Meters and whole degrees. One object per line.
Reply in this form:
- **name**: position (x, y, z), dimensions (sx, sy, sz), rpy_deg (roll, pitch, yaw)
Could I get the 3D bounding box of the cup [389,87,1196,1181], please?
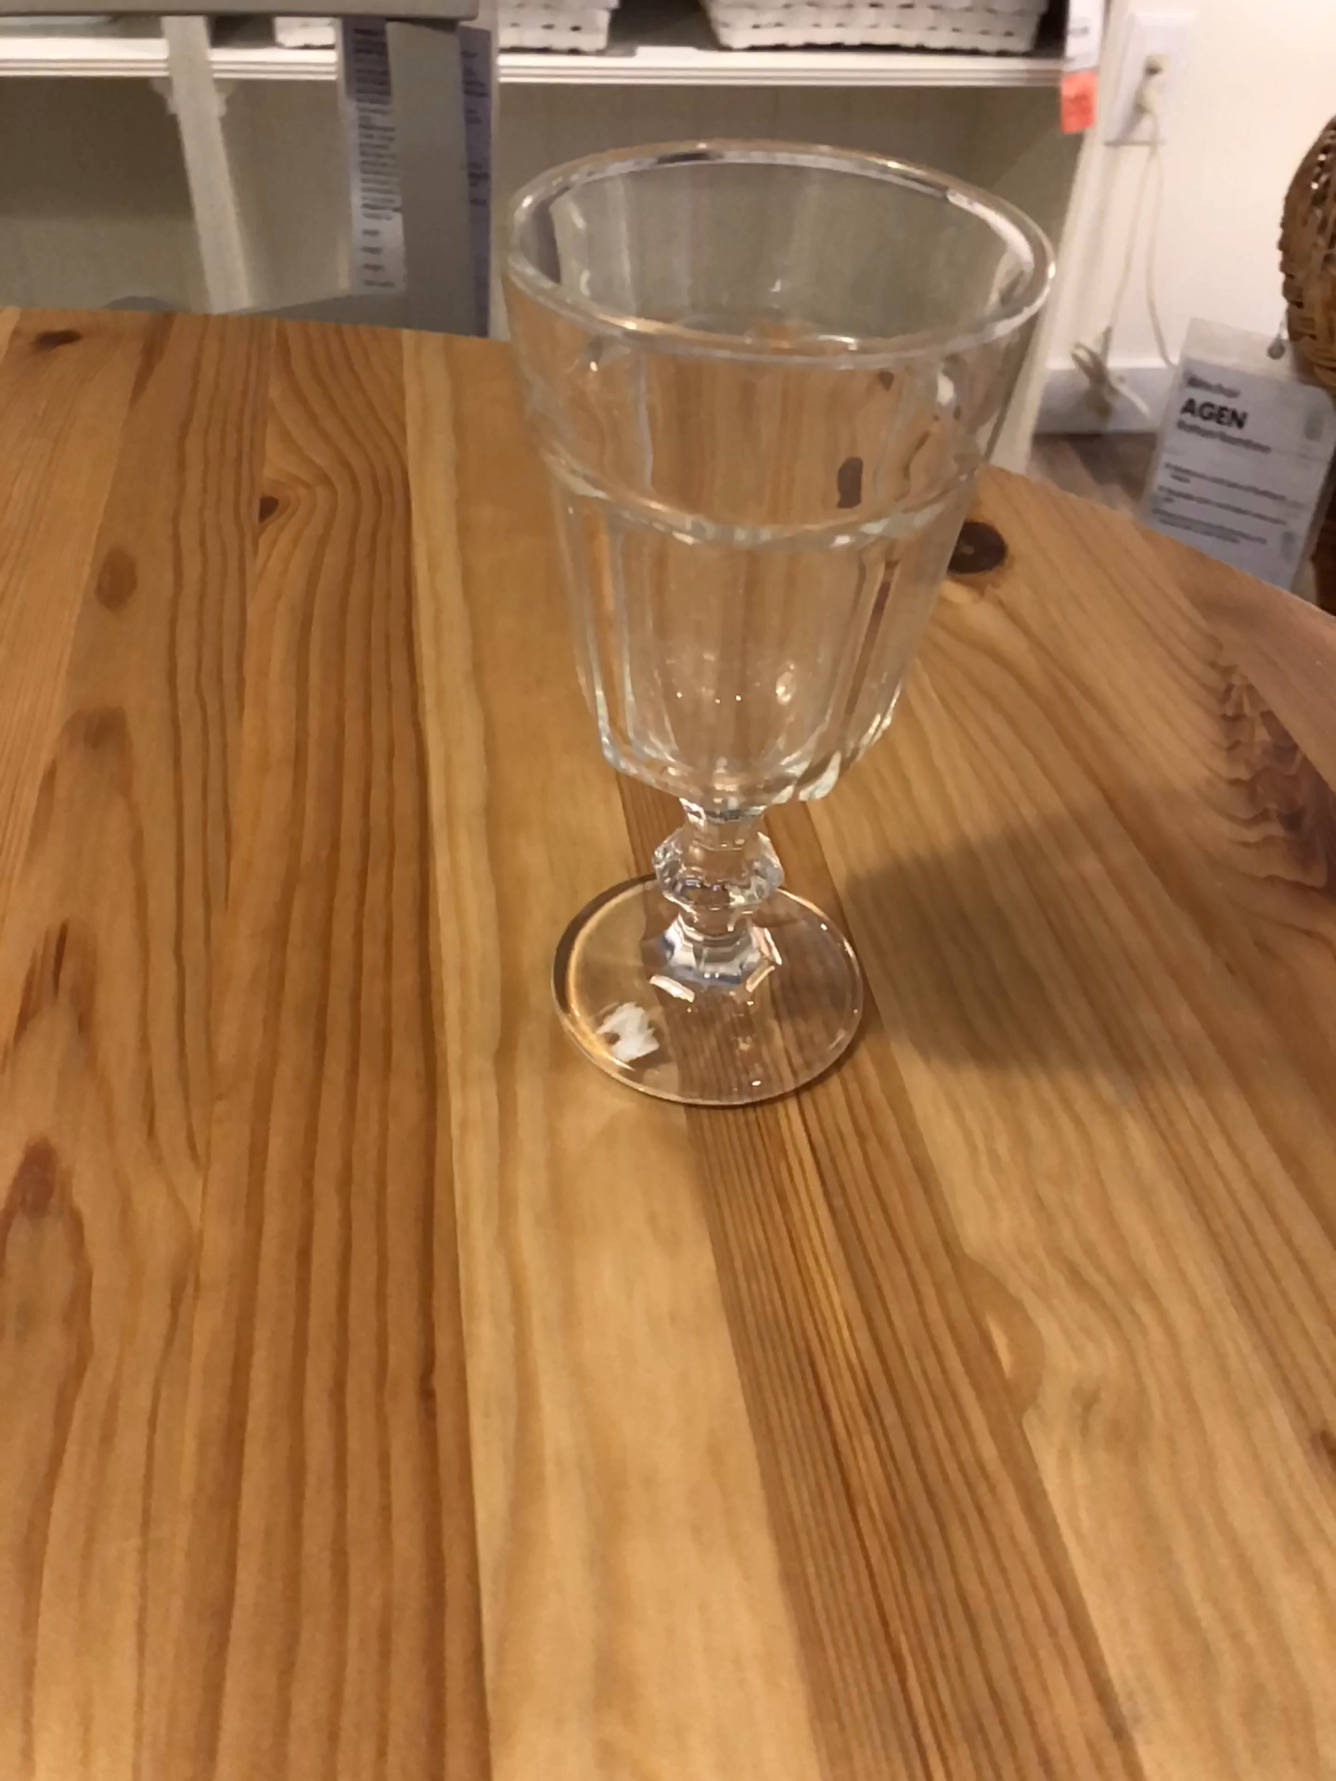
- **cup**: position (0.017, -0.040, 0.246), dimensions (0.080, 0.139, 0.080), rpy_deg (2, 43, -2)
